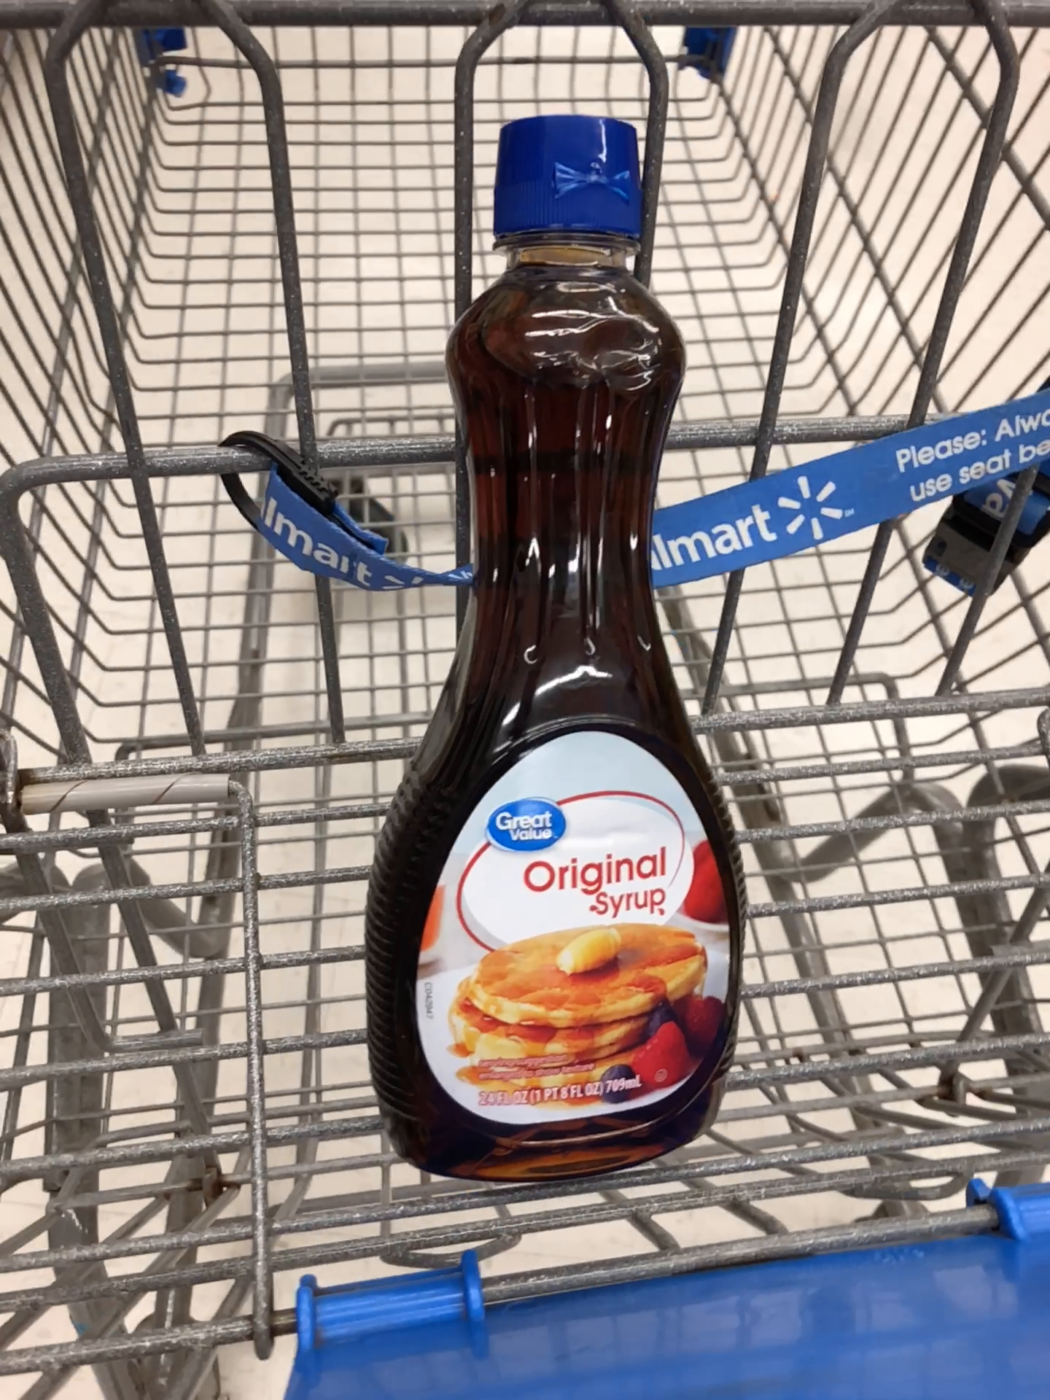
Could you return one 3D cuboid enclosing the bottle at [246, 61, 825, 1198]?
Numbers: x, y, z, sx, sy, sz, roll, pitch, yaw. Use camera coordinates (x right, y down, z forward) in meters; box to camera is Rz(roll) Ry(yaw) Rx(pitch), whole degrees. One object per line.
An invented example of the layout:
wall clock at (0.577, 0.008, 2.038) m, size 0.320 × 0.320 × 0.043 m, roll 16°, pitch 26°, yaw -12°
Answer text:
bottle at (0.004, -0.014, 0.295) m, size 0.120 × 0.070 × 0.250 m, roll -3°, pitch 100°, yaw -6°
